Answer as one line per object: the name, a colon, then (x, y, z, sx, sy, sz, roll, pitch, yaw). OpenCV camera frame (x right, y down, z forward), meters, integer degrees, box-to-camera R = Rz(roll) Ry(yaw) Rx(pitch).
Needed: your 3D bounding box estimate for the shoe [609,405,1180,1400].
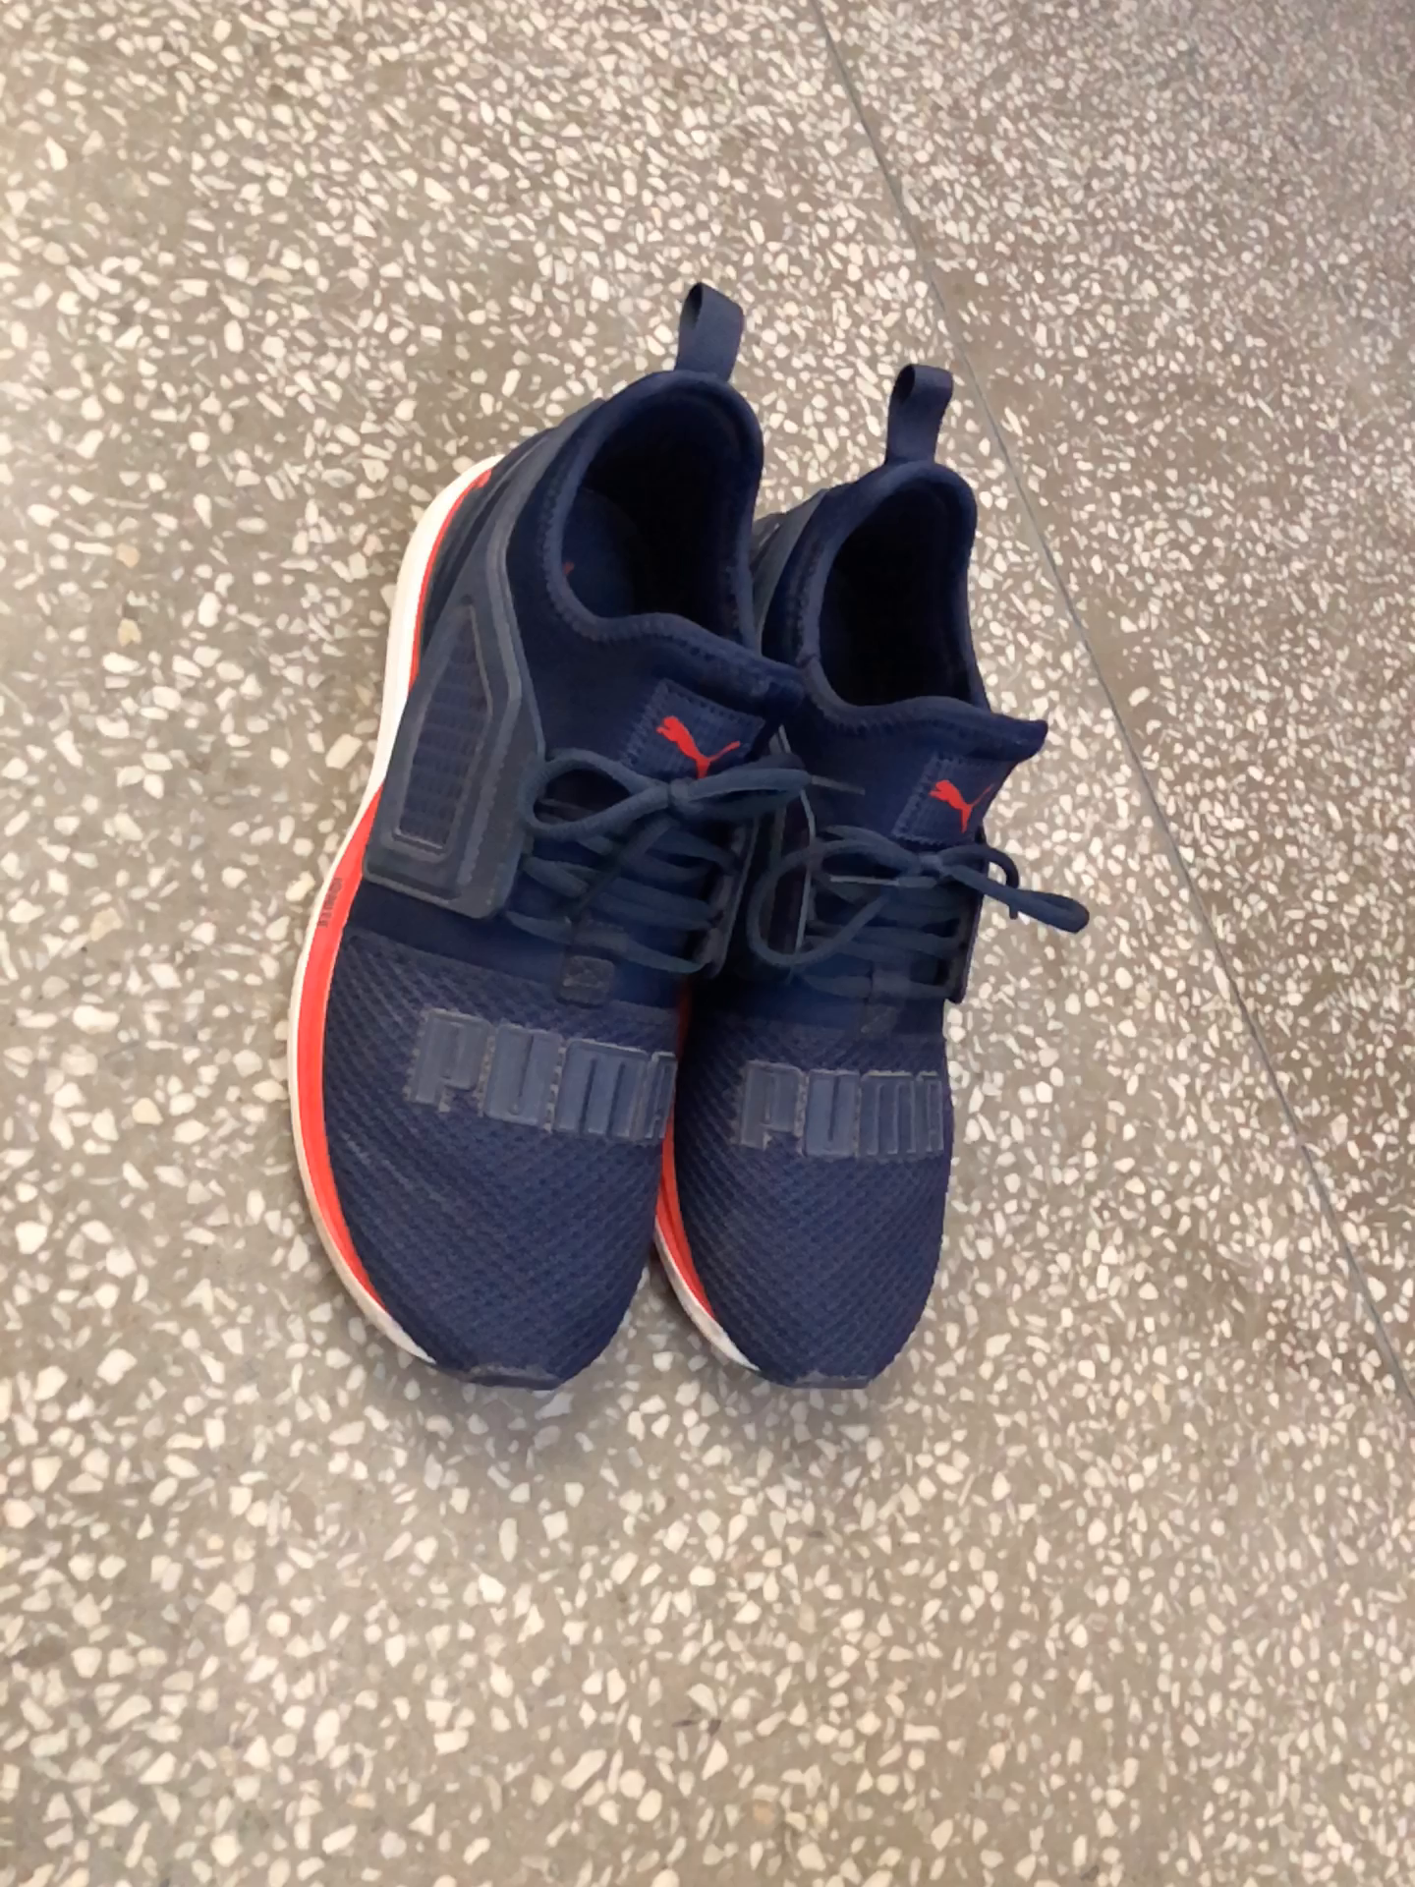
shoe: (0.048, -0.002, 0.461, 0.107, 0.113, 0.257, 10, 70, -28)

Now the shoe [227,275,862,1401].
shoe: (-0.039, -0.018, 0.415, 0.107, 0.113, 0.258, 14, 68, -27)
